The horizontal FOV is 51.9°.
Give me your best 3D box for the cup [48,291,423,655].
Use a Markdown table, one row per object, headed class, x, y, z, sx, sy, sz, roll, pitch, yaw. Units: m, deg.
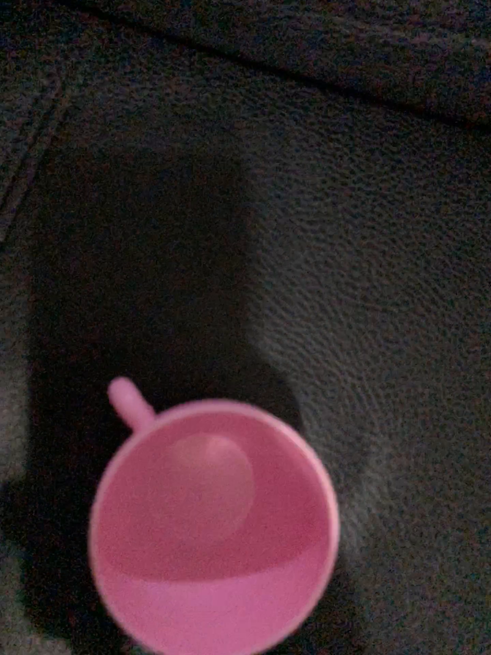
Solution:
| class | x | y | z | sx | sy | sz | roll | pitch | yaw |
| --- | --- | --- | --- | --- | --- | --- | --- | --- | --- |
| cup | -0.004 | 0.042 | 0.145 | 0.060 | 0.045 | 0.077 | -32 | 88 | -11 |
